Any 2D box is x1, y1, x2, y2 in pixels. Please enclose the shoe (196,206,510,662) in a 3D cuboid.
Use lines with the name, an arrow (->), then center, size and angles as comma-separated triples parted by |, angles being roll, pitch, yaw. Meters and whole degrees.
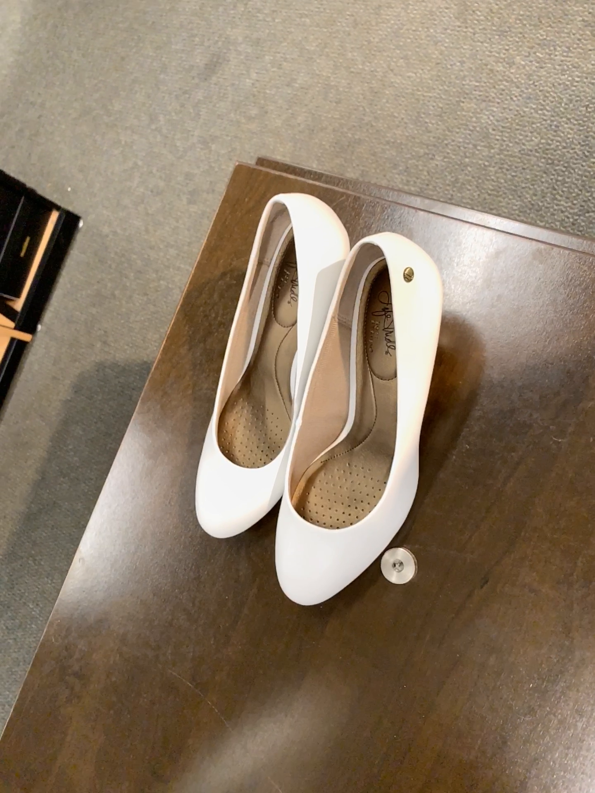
shoe -> 0.044, 0.024, 0.418 | 0.090, 0.110, 0.260 | 23, 92, 26

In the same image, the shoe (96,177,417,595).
shoe -> -0.024, -0.003, 0.446 | 0.090, 0.110, 0.260 | 28, 94, 26
